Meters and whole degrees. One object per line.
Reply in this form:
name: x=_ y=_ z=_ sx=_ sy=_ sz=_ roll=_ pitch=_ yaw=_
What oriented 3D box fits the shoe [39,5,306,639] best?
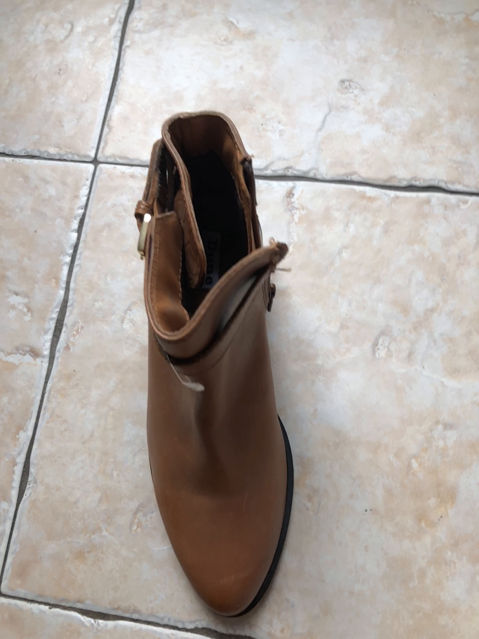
shoe: x=-0.013 y=0.022 z=0.299 sx=0.090 sy=0.180 sz=0.300 roll=-1 pitch=76 yaw=6
